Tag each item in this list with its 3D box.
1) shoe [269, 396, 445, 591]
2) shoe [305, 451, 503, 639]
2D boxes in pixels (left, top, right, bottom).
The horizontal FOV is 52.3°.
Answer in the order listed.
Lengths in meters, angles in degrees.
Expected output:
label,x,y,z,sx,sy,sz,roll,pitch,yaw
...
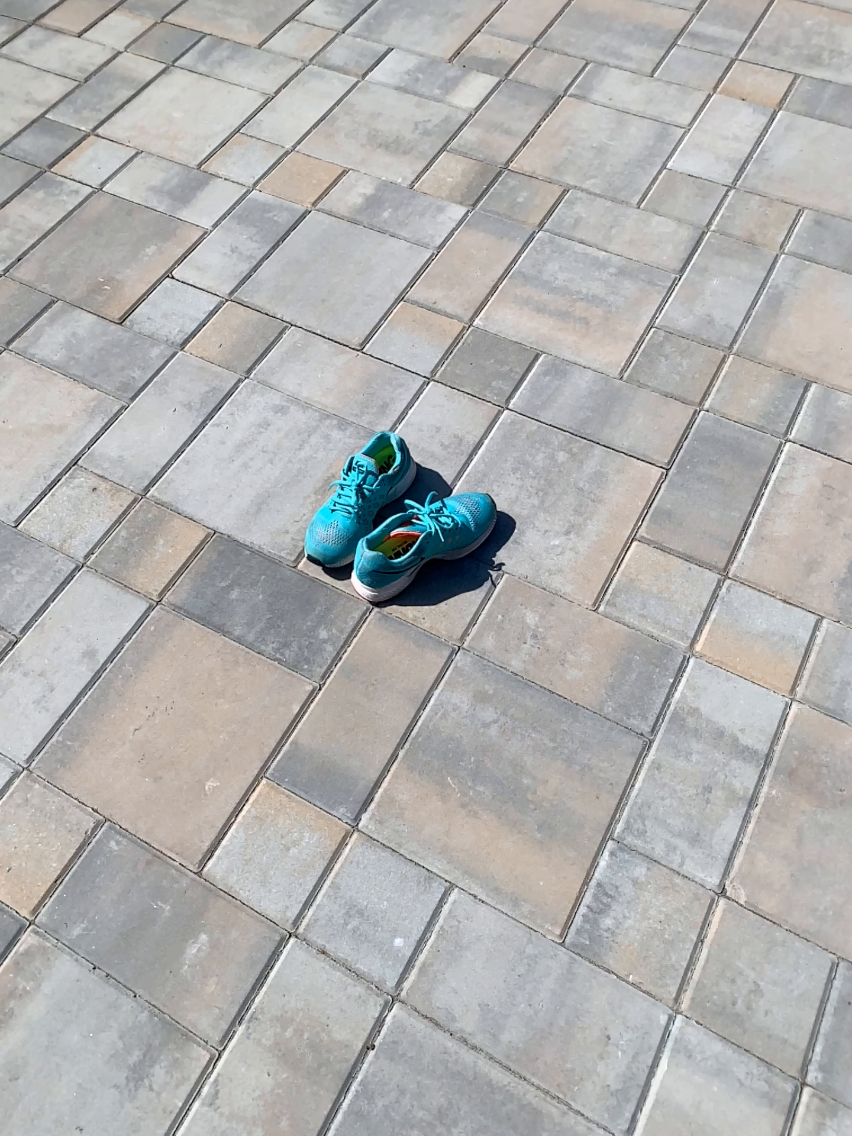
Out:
label,x,y,z,sx,sy,sz,roll,pitch,yaw
shoe,-0.098,-0.119,1.340,0.130,0.100,0.270,29,64,18
shoe,-0.029,-0.036,1.334,0.270,0.100,0.130,-36,64,-12
